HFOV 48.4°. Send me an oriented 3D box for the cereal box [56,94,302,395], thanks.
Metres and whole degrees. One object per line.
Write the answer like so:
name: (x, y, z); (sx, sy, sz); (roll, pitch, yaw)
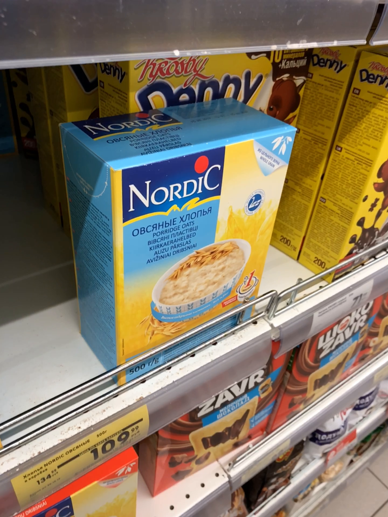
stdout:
cereal box: (-0.014, -0.011, 0.346); (0.150, 0.199, 0.070); (-21, 45, -31)
